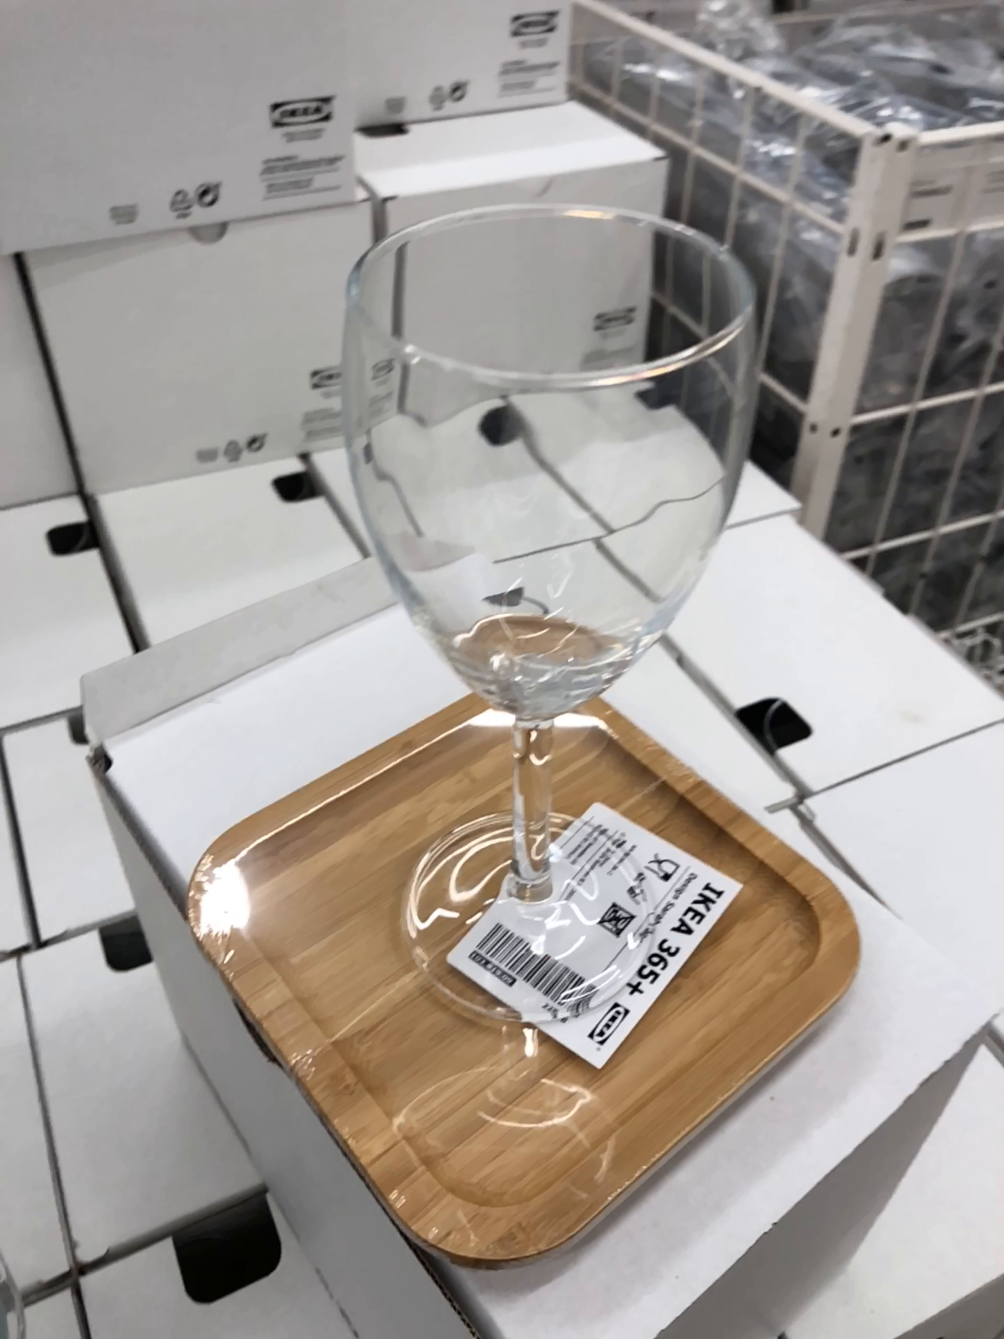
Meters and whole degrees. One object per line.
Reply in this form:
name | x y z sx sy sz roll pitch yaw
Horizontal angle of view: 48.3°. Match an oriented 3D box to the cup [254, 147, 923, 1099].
cup | 0.010 -0.002 0.245 0.080 0.179 0.080 1 42 -1
